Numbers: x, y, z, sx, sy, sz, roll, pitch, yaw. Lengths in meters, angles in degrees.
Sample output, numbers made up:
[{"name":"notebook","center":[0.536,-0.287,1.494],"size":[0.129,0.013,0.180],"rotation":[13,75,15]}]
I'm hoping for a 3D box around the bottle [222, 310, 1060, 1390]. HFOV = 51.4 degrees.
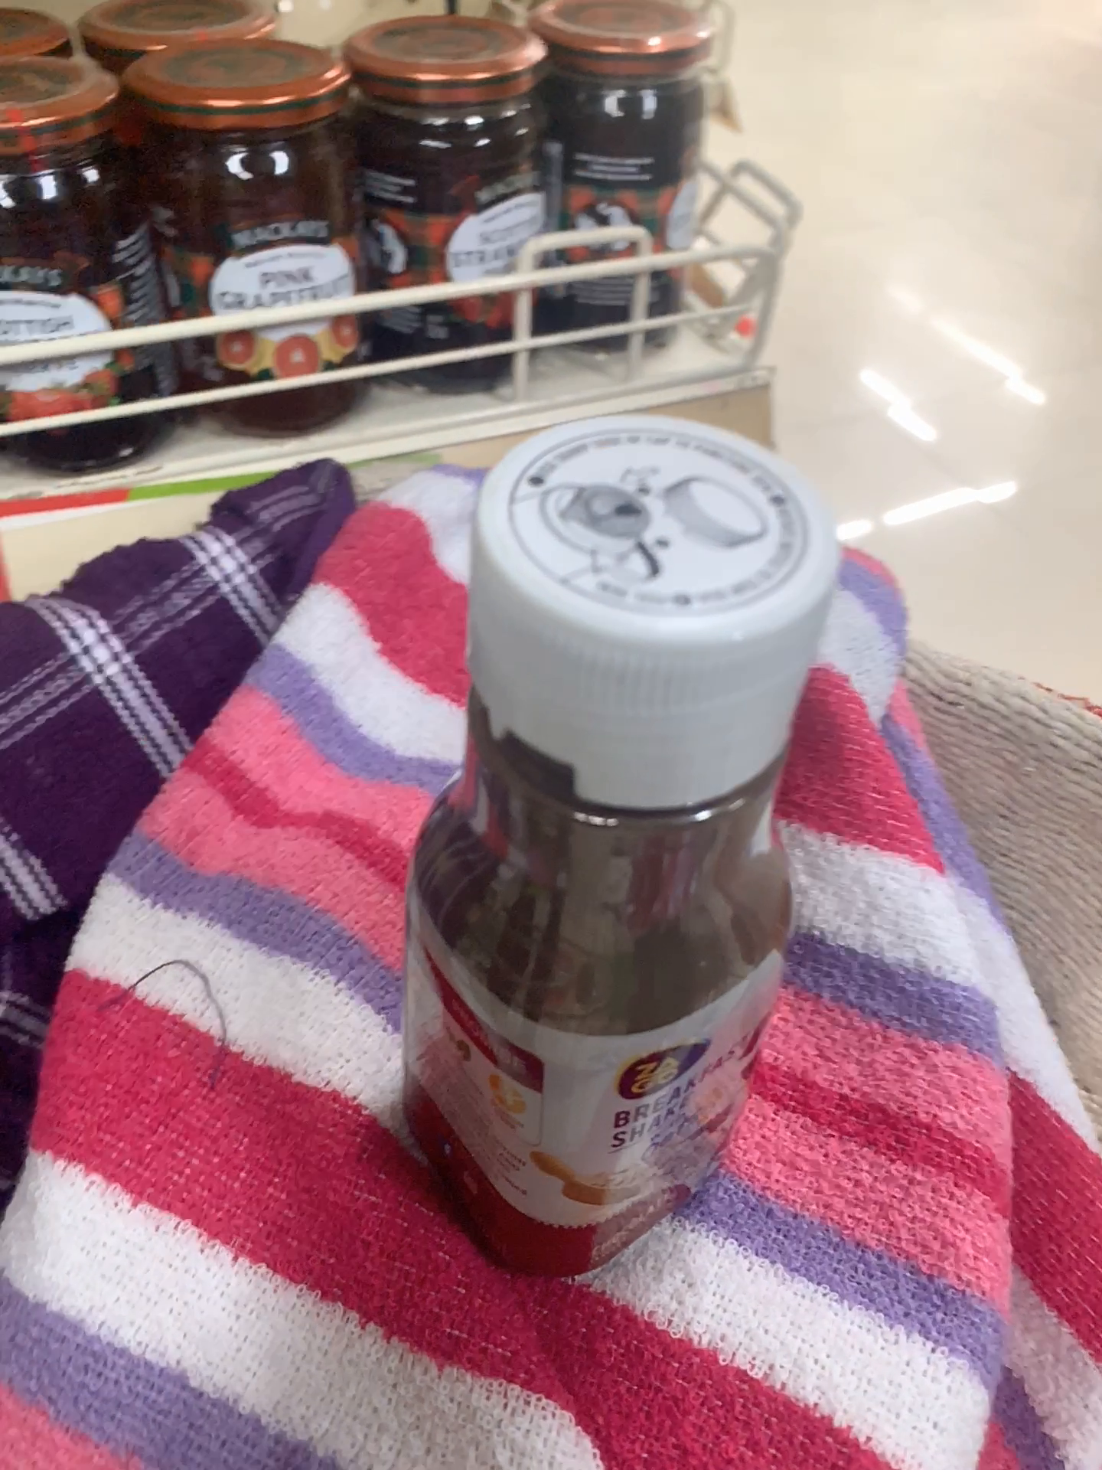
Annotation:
[{"name":"bottle","center":[0.006,0.026,0.156],"size":[0.060,0.139,0.050],"rotation":[-27,53,-27]}]
